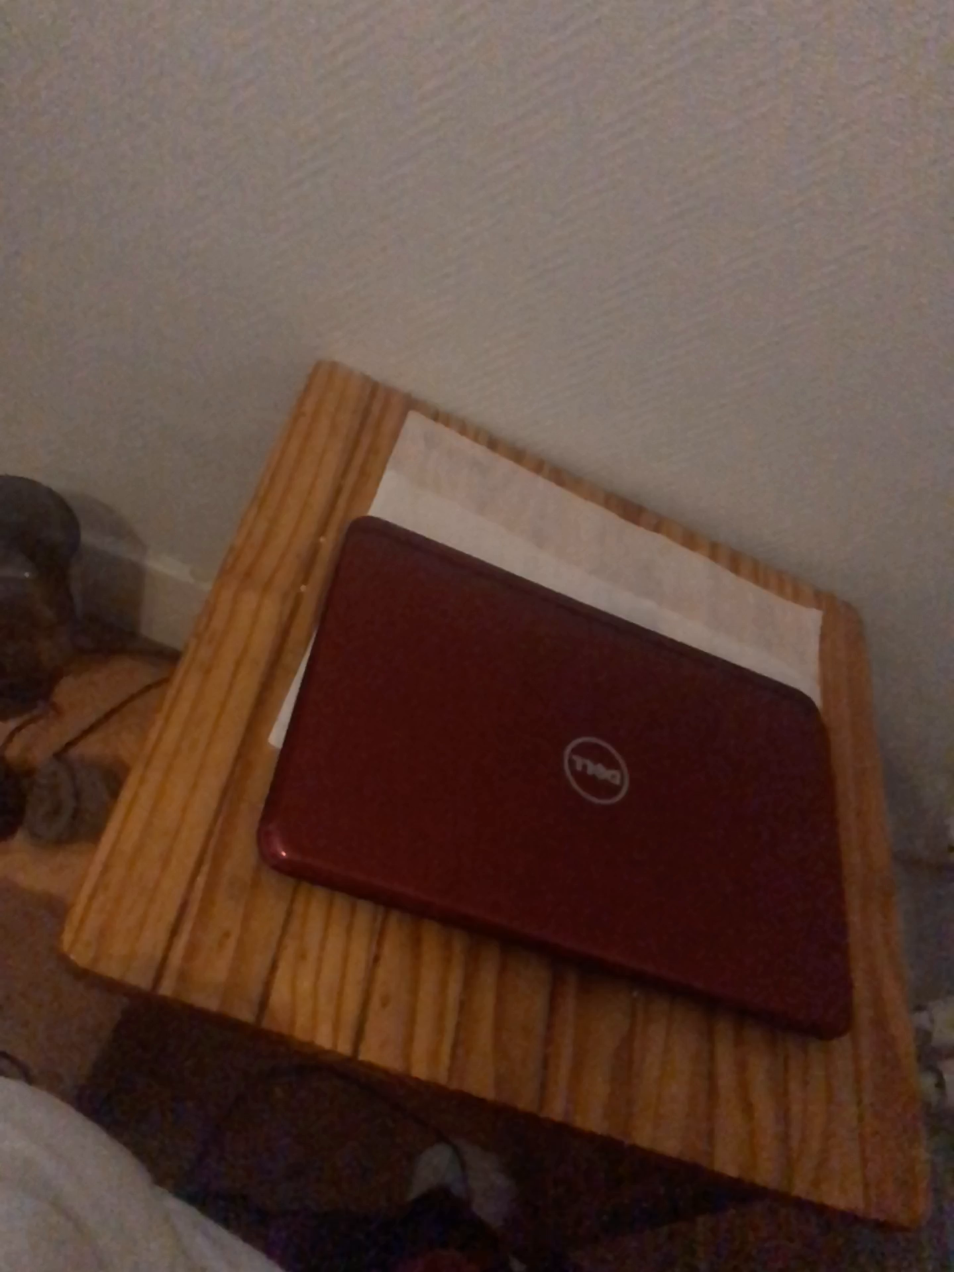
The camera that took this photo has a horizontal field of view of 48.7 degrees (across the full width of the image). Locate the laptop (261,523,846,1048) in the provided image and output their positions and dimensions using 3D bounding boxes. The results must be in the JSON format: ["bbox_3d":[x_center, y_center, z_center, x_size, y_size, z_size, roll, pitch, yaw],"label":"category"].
[{"bbox_3d":[0.071,0.088,0.670,0.365,0.011,0.247,22,50,-14],"label":"laptop"}]
